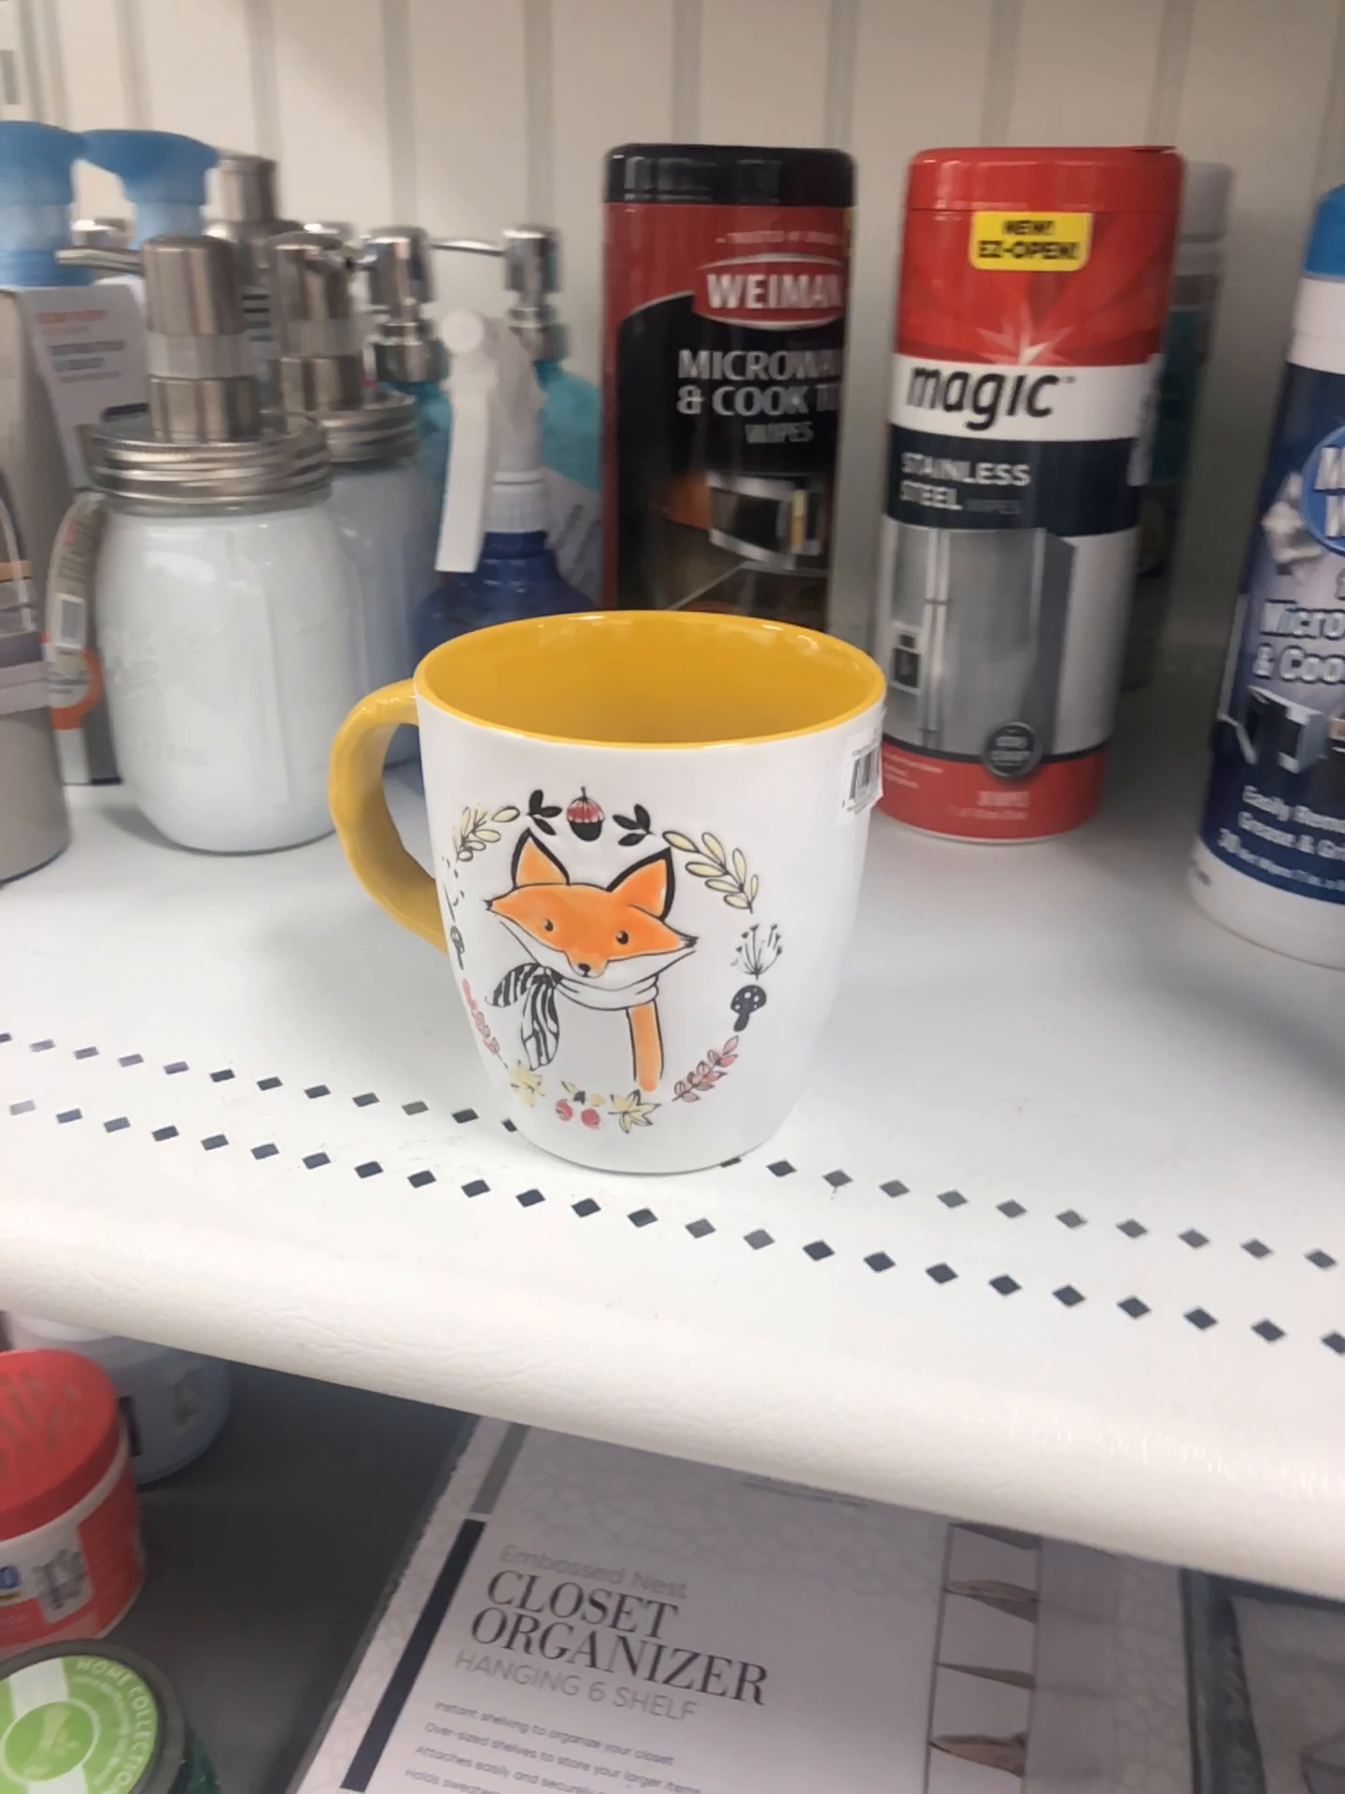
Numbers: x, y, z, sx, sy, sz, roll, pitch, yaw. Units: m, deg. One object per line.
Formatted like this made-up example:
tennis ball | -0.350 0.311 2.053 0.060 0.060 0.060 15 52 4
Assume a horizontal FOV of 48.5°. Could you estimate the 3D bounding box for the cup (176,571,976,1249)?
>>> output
cup | -0.017 -0.008 0.326 0.133 0.093 0.099 12 27 23
